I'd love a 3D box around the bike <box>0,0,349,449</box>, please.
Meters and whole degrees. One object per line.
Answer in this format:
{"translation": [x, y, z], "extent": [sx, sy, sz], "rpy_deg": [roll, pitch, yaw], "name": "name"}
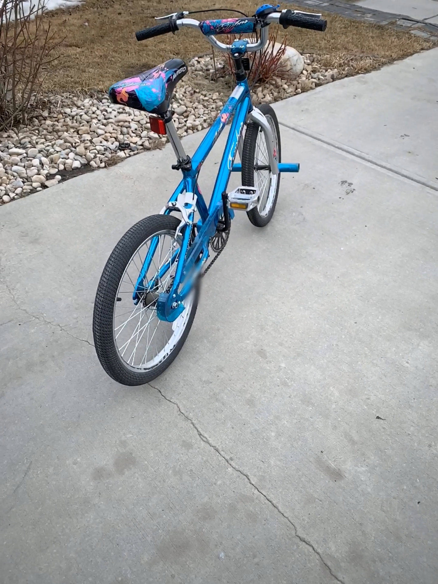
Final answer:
{"translation": [-0.107, -0.421, 1.503], "extent": [0.681, 0.837, 1.390], "rpy_deg": [16, 47, 15], "name": "bike"}
